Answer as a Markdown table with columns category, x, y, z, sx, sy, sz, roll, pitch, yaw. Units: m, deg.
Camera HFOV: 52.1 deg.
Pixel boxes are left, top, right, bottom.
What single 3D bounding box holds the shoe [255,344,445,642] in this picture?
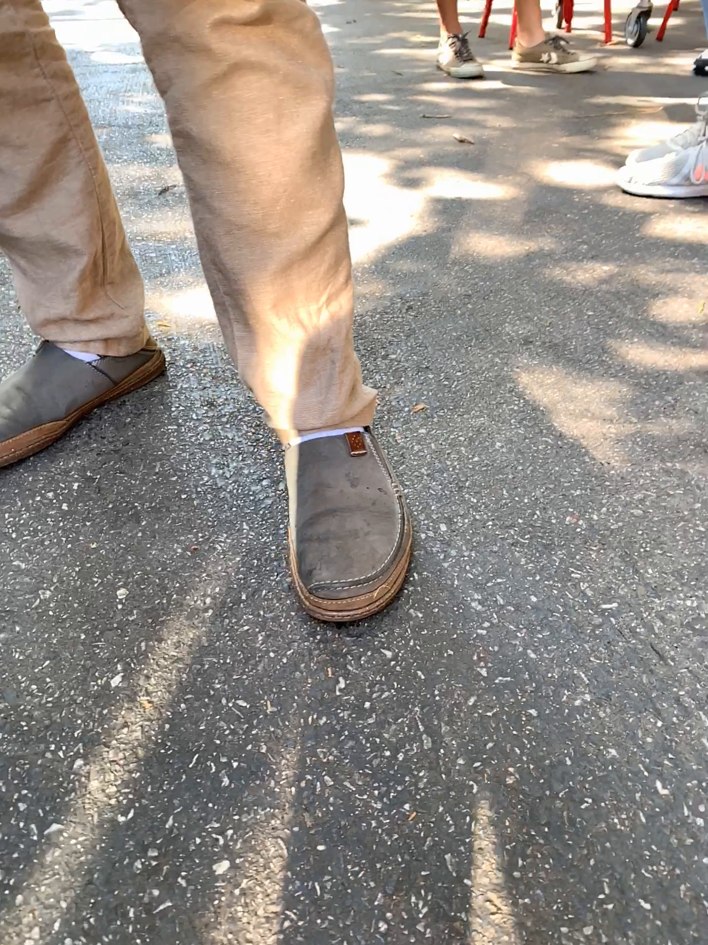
| category | x | y | z | sx | sy | sz | roll | pitch | yaw |
| --- | --- | --- | --- | --- | --- | --- | --- | --- | --- |
| shoe | -0.017 | -0.003 | 0.681 | 0.120 | 0.079 | 0.322 | -8 | 38 | -6 |

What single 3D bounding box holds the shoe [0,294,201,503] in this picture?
| category | x | y | z | sx | sy | sz | roll | pitch | yaw |
| --- | --- | --- | --- | --- | --- | --- | --- | --- | --- |
| shoe | -0.327 | -0.099 | 0.814 | 0.120 | 0.060 | 0.321 | 18 | 43 | 25 |
